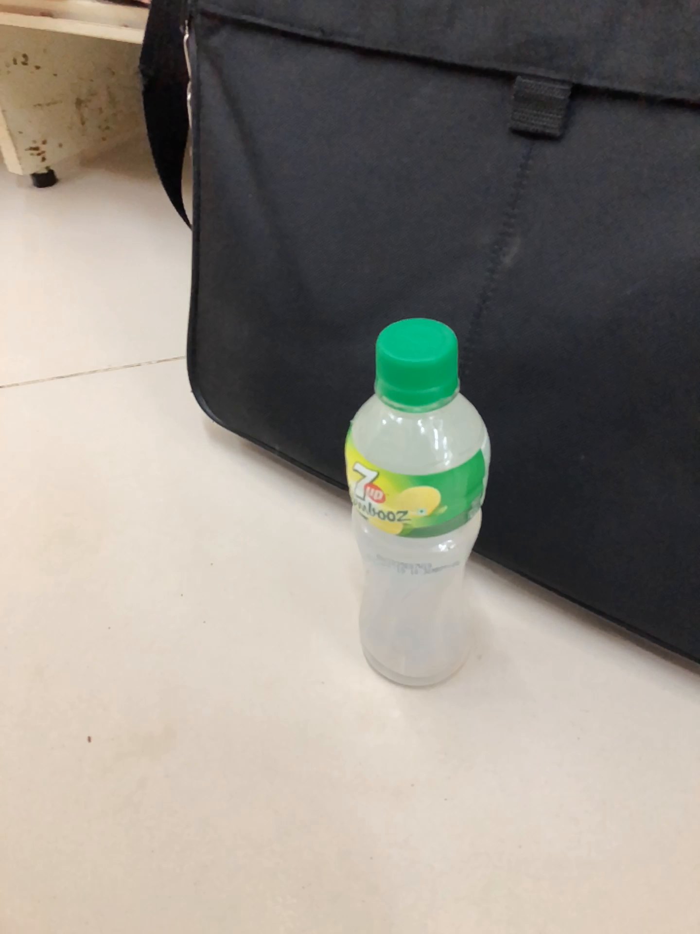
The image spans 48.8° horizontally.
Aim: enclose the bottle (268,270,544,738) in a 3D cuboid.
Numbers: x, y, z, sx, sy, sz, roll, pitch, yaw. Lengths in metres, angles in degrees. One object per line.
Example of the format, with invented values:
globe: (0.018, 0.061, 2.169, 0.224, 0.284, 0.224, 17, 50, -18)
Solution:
bottle: (0.026, 0.024, 0.337, 0.070, 0.189, 0.070, -3, 41, 2)
